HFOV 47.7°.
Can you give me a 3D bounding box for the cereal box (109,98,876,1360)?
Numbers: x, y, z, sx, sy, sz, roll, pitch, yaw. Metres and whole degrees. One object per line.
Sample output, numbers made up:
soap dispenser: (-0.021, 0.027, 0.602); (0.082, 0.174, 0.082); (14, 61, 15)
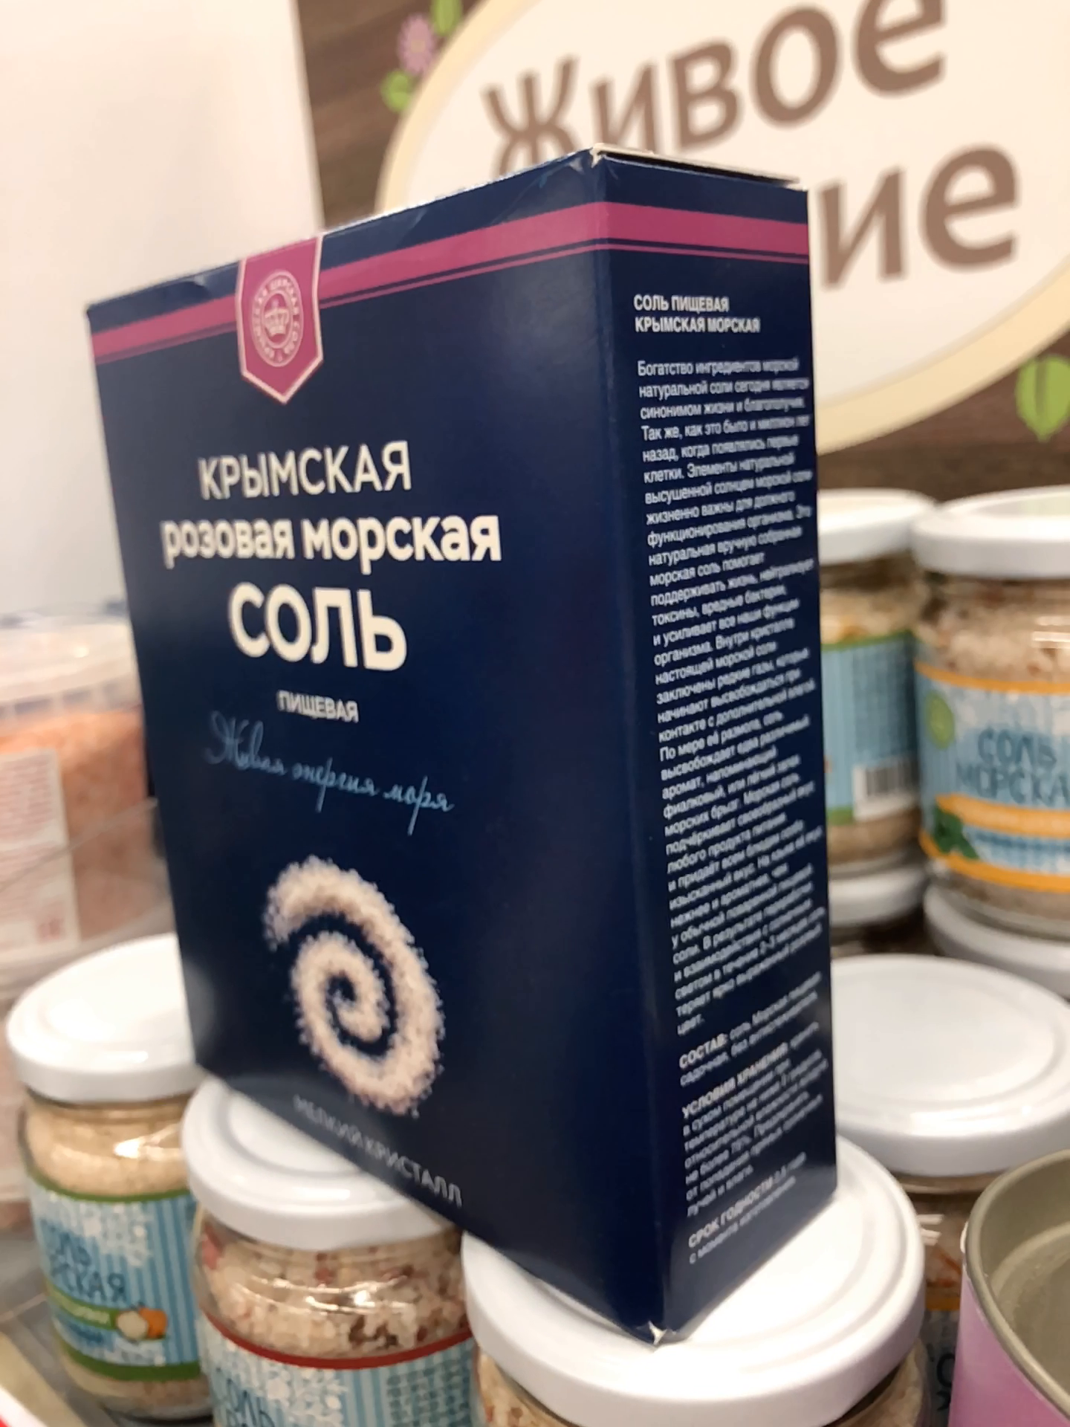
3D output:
cereal box: (-0.011, -0.001, 0.195); (0.040, 0.149, 0.120); (-16, 17, -43)
